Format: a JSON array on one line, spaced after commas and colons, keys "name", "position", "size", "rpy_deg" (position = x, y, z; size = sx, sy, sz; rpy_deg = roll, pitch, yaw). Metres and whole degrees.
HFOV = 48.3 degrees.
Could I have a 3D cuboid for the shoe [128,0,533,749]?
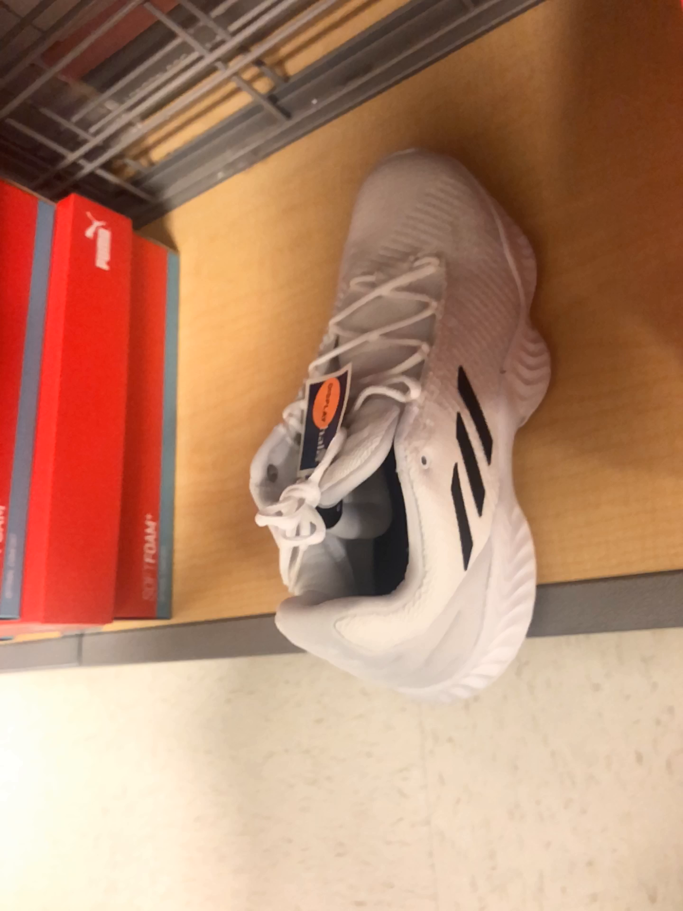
[{"name": "shoe", "position": [0.007, -0.046, 0.385], "size": [0.120, 0.150, 0.335], "rpy_deg": [-6, 76, 37]}]
